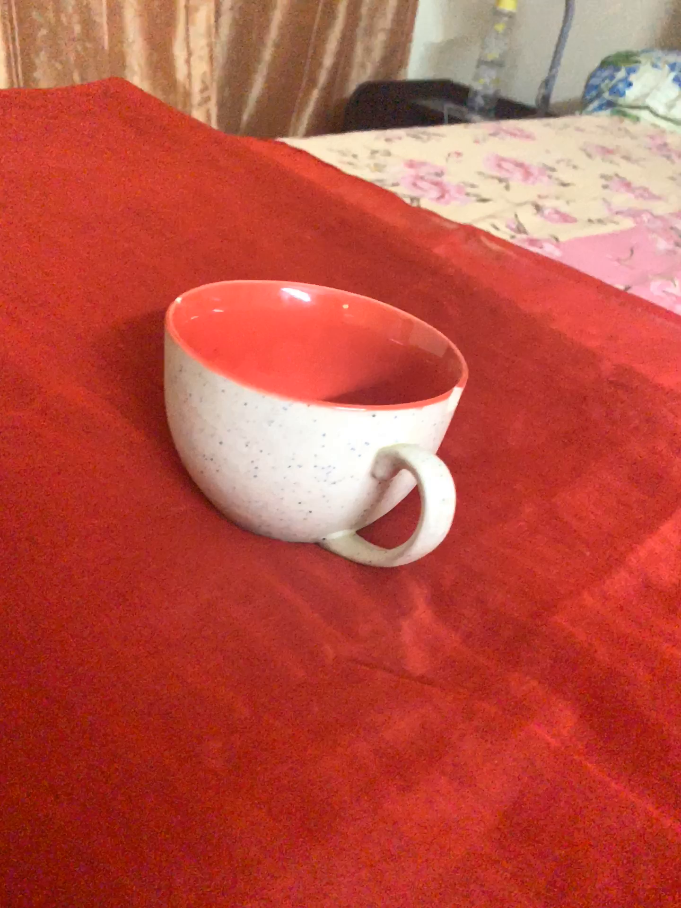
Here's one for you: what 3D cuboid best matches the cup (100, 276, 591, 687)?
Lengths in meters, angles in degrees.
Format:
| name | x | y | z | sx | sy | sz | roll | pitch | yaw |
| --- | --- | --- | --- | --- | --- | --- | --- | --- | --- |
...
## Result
| name | x | y | z | sx | sy | sz | roll | pitch | yaw |
| --- | --- | --- | --- | --- | --- | --- | --- | --- | --- |
| cup | -0.009 | -0.007 | 0.277 | 0.130 | 0.069 | 0.141 | 9 | 34 | -6 |
